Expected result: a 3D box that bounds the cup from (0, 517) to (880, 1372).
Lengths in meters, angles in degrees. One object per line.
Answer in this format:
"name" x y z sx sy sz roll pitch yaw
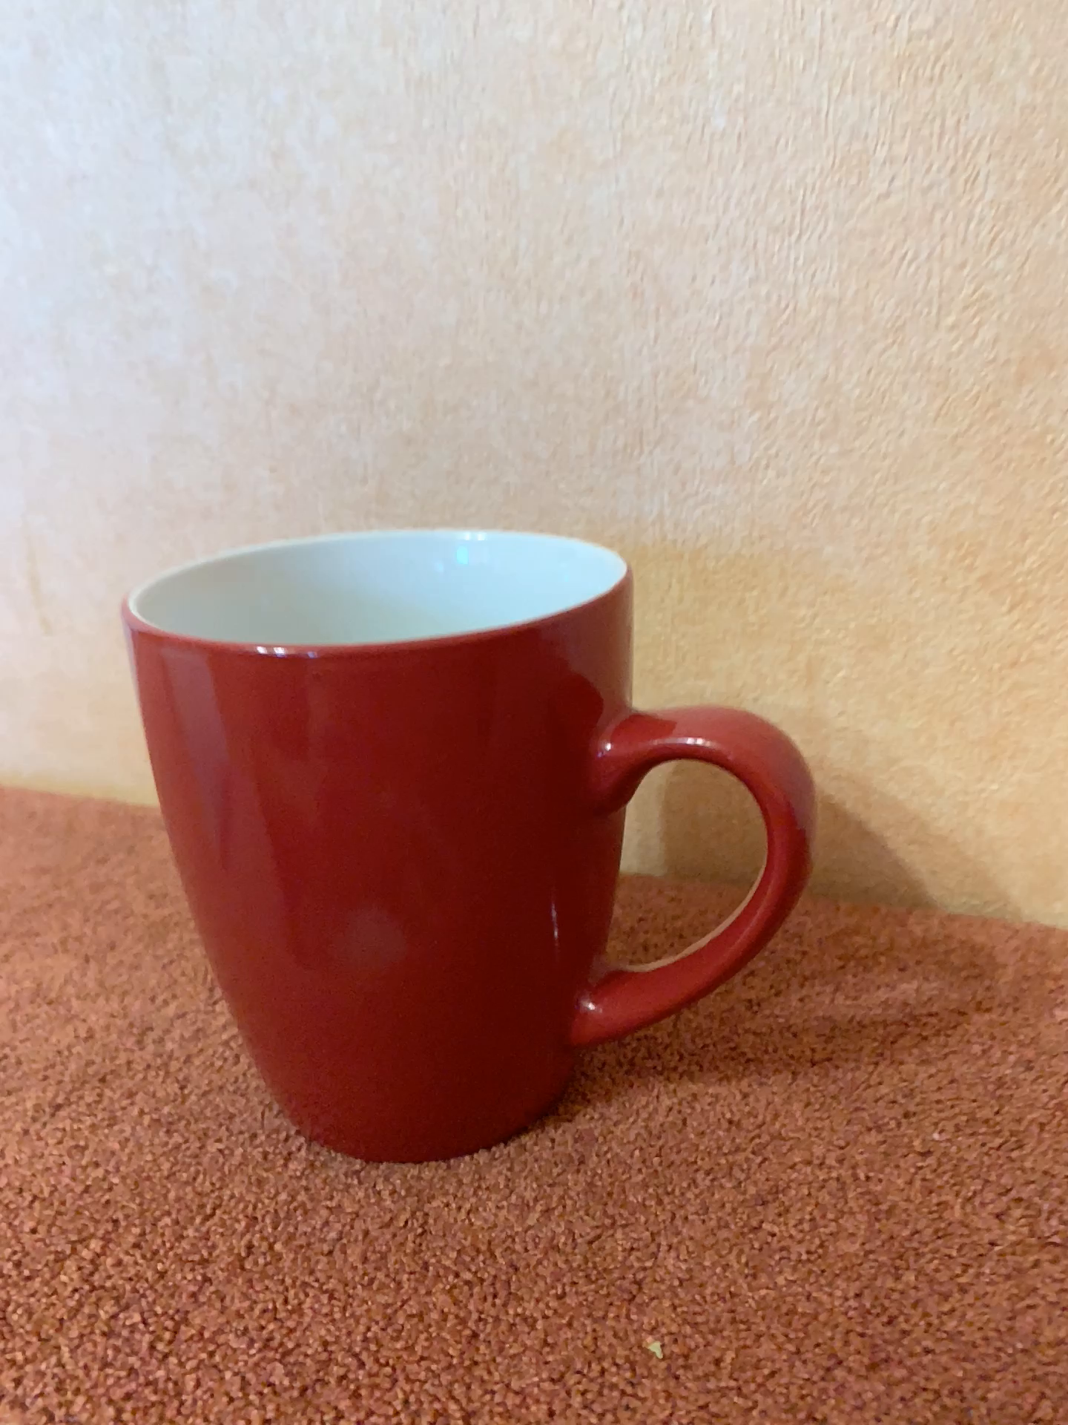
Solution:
"cup" -0.013 0.021 0.188 0.122 0.091 0.083 5 22 25
